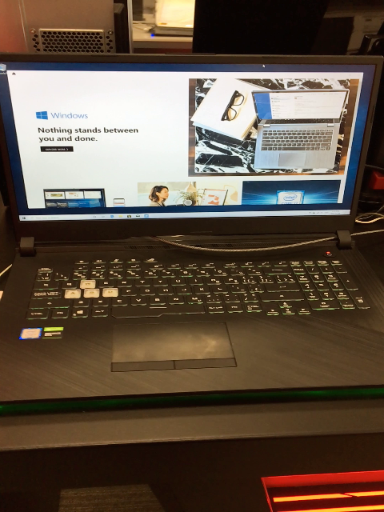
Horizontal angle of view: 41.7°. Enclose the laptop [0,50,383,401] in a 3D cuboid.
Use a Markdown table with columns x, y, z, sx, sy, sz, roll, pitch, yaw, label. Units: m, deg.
| x | y | z | sx | sy | sz | roll | pitch | yaw | label |
| --- | --- | --- | --- | --- | --- | --- | --- | --- | --- |
| 0.018 | -0.053 | 0.512 | 0.429 | 0.234 | 0.312 | -2 | 37 | -4 | laptop |
